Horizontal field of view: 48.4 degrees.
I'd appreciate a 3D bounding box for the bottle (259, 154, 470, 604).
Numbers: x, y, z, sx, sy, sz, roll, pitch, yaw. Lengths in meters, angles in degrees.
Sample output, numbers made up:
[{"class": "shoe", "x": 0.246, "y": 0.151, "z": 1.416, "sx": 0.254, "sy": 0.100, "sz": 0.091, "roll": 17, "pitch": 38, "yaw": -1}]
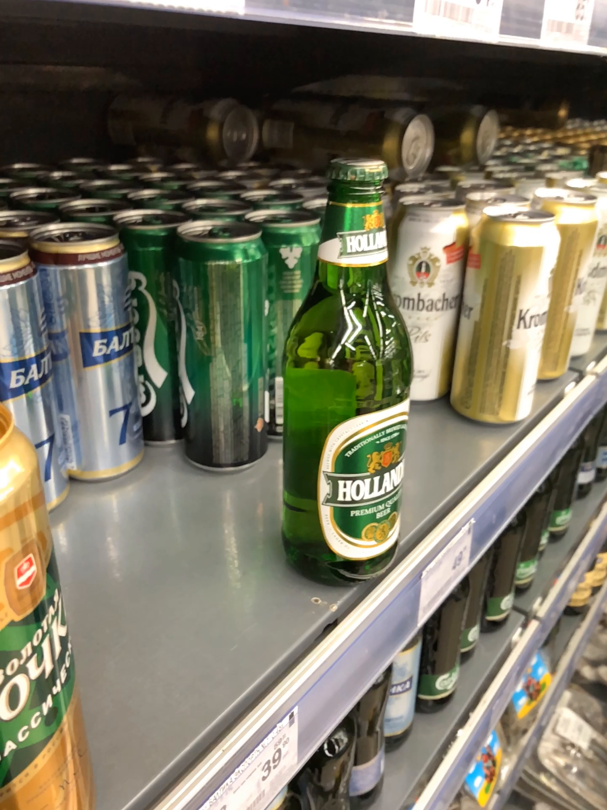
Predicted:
[{"class": "bottle", "x": 0.024, "y": -0.012, "z": 0.346, "sx": 0.070, "sy": 0.211, "sz": 0.063, "roll": -16, "pitch": 30, "yaw": -31}]
